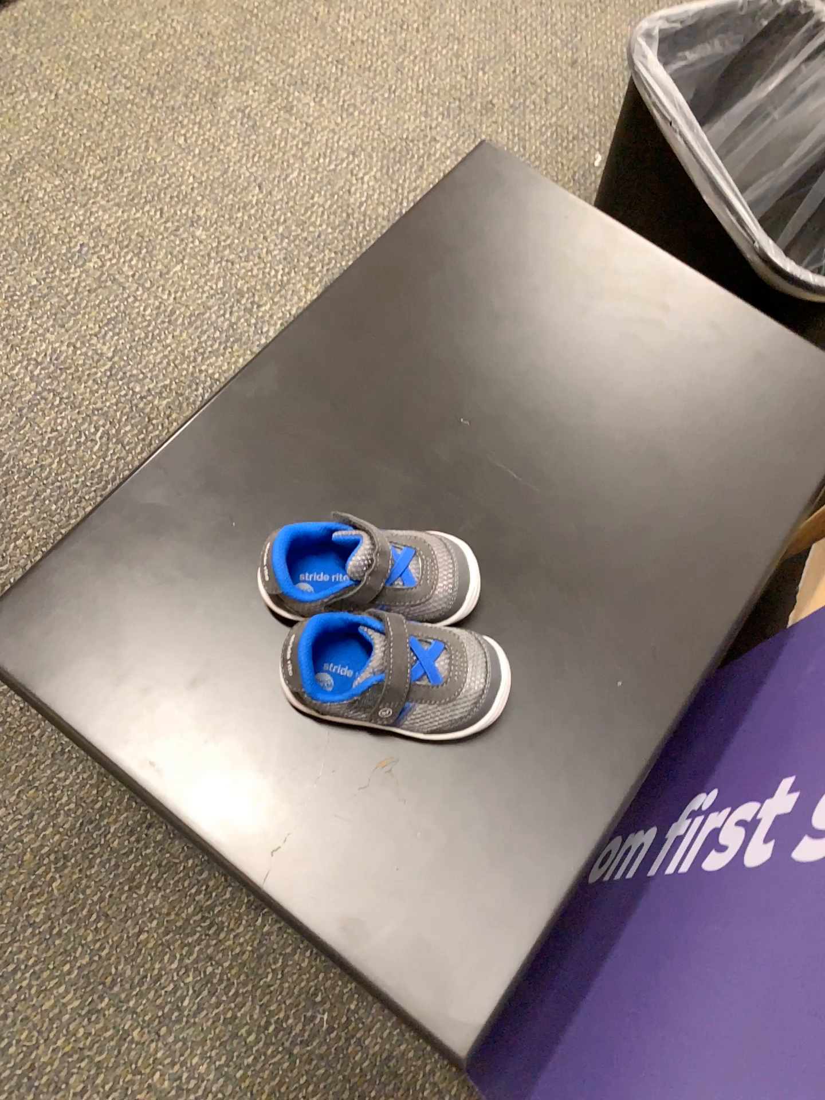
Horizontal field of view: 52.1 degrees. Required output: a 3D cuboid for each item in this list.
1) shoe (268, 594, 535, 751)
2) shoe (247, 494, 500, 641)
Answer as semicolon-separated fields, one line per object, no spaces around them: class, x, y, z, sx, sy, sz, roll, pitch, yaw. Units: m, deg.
shoe;-0.007;0.072;0.481;0.140;0.060;0.070;3;67;-5
shoe;-0.024;0.012;0.508;0.140;0.060;0.070;0;67;-6
